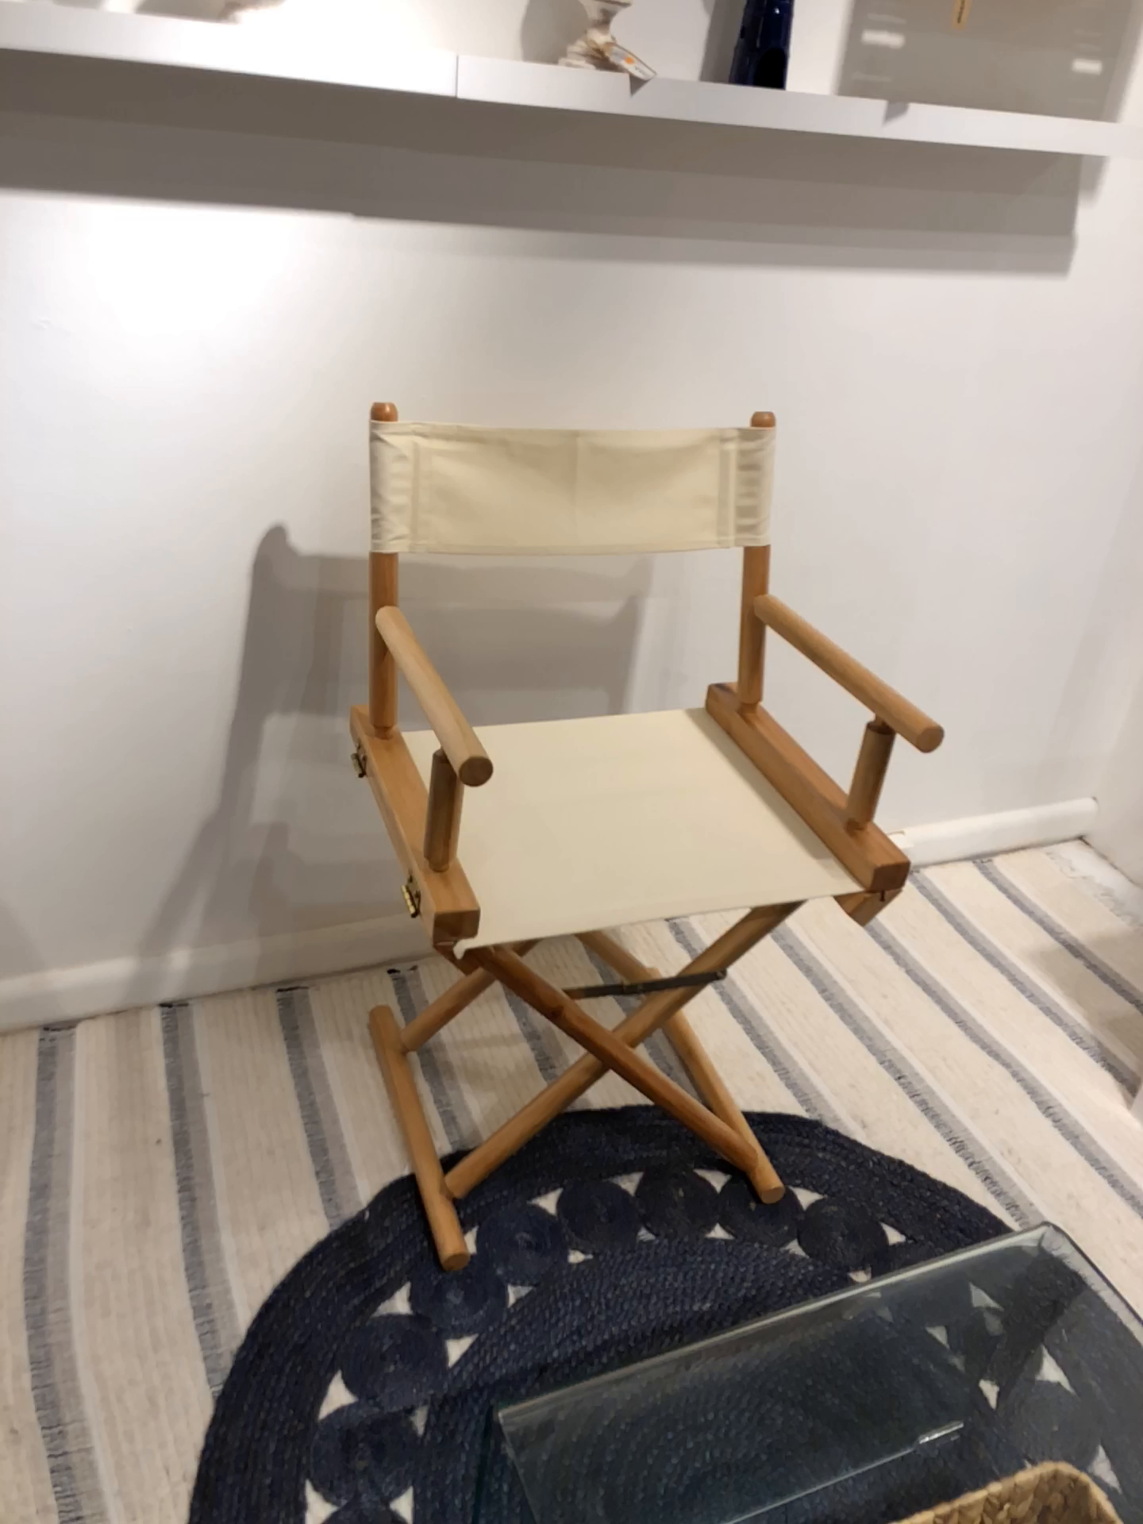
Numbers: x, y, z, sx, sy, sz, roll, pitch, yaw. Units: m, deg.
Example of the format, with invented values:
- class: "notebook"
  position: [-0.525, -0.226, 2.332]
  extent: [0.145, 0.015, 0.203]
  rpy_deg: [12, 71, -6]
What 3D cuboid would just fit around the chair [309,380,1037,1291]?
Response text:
- class: "chair"
  position: [0.021, 0.045, 1.428]
  extent: [0.541, 0.794, 0.563]
  rpy_deg: [-5, 32, -20]
